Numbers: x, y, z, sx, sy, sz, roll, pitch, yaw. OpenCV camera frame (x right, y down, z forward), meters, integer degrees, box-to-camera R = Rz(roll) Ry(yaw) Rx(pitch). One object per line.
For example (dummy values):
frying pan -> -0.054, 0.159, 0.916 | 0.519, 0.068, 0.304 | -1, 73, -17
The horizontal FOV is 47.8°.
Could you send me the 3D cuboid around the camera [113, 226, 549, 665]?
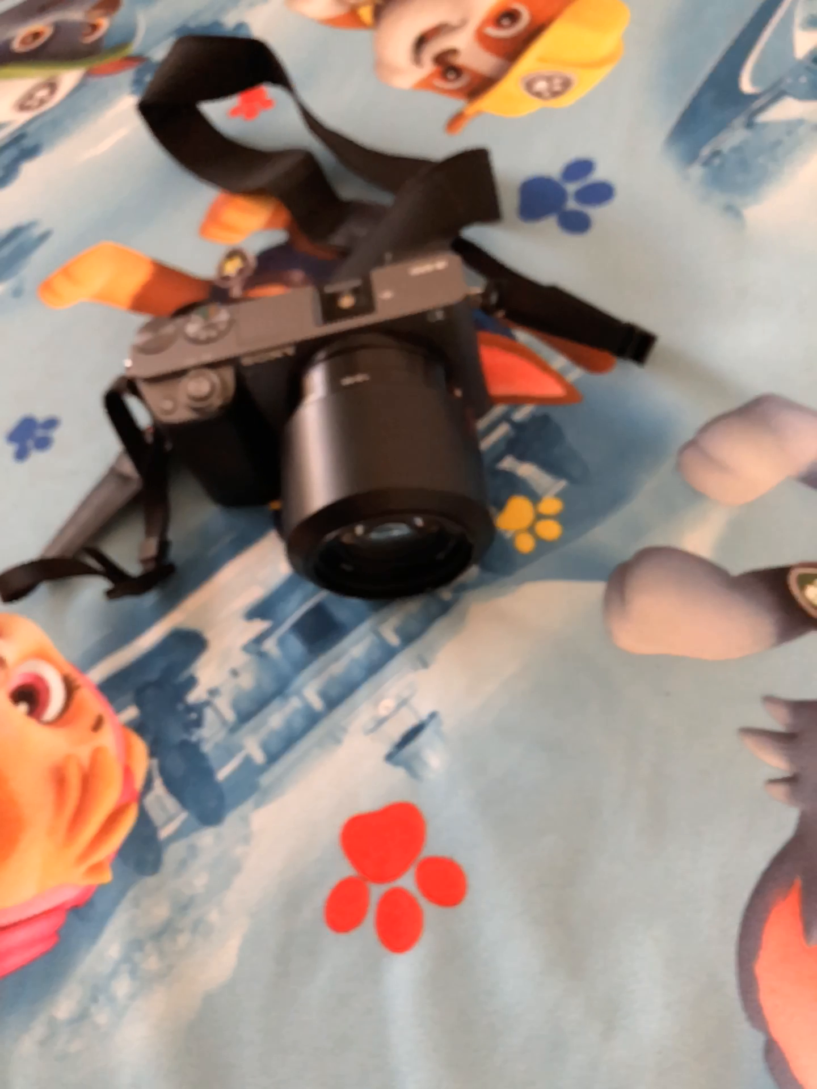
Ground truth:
camera -> -0.027, -0.034, 0.342 | 0.130, 0.080, 0.110 | -13, 58, 8
